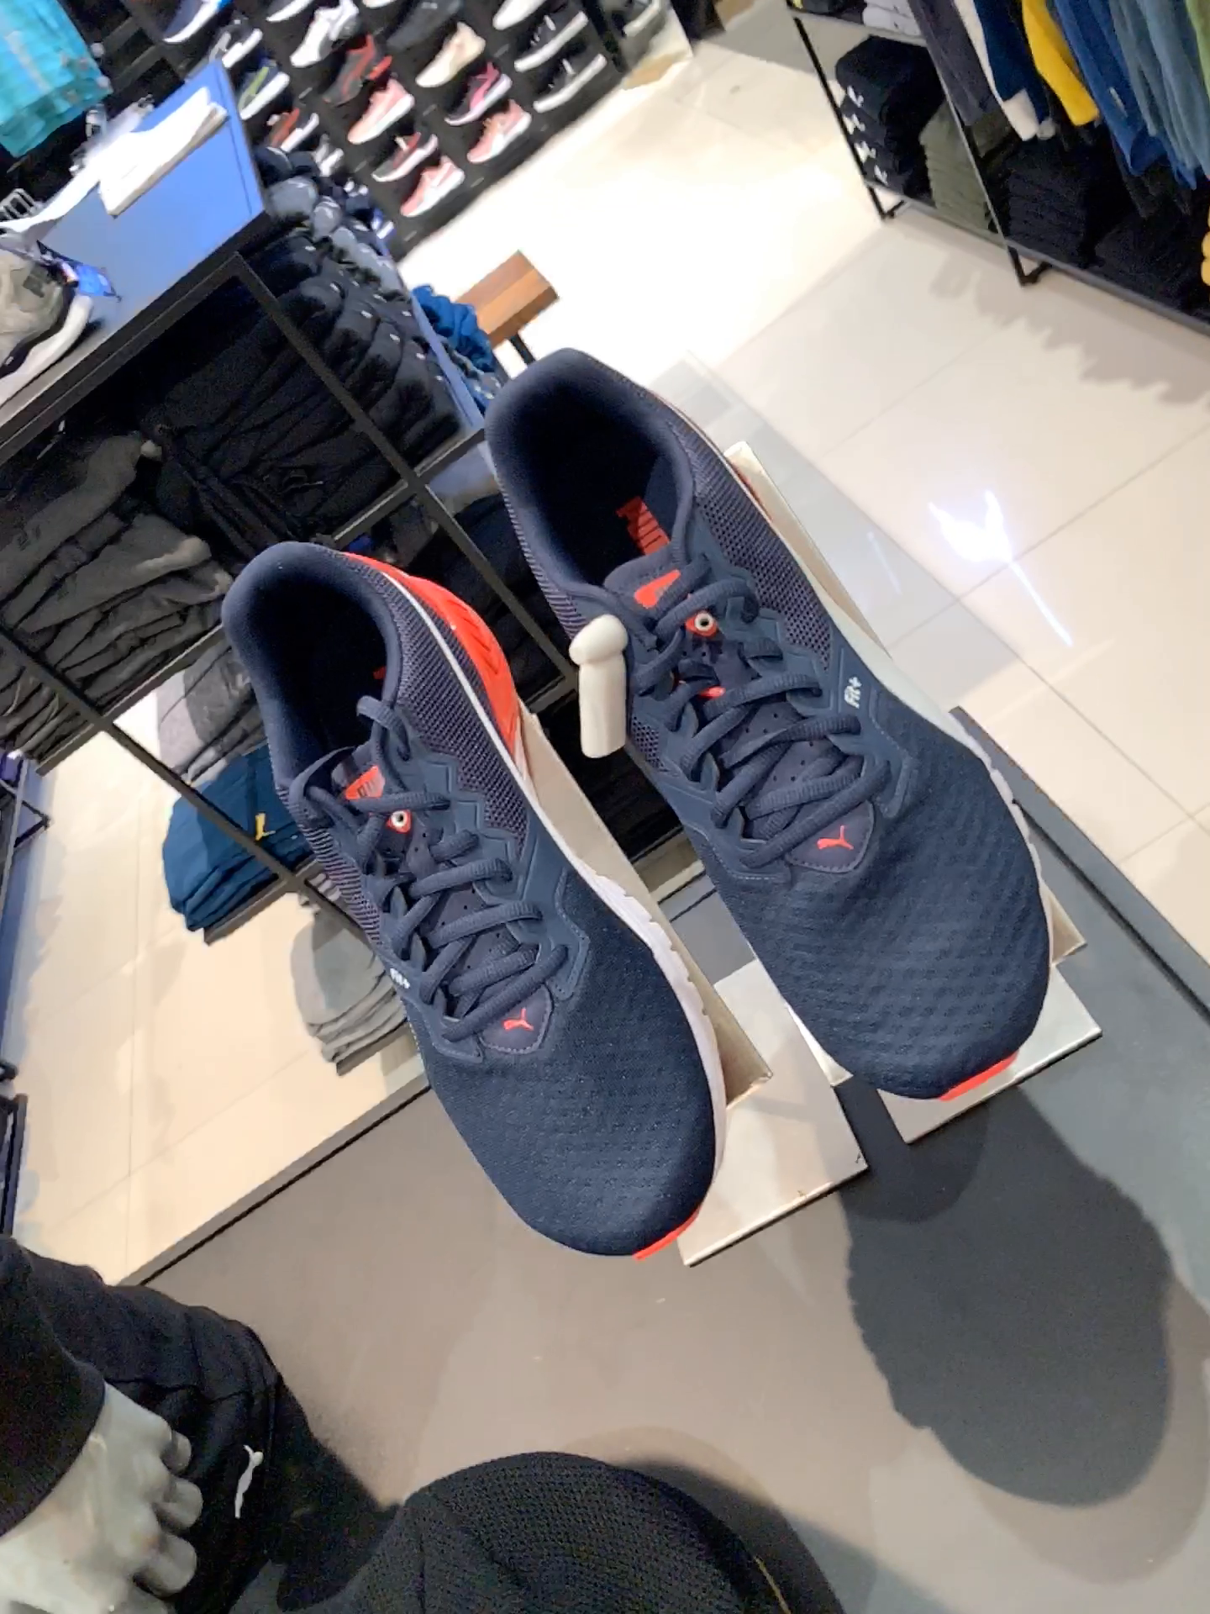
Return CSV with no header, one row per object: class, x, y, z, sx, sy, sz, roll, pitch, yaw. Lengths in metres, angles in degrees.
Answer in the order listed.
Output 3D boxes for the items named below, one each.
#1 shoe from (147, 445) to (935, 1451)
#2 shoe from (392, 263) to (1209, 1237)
shoe,-0.027,0.028,0.355,0.100,0.079,0.252,-36,64,7
shoe,0.054,-0.021,0.365,0.100,0.099,0.262,-36,64,7
